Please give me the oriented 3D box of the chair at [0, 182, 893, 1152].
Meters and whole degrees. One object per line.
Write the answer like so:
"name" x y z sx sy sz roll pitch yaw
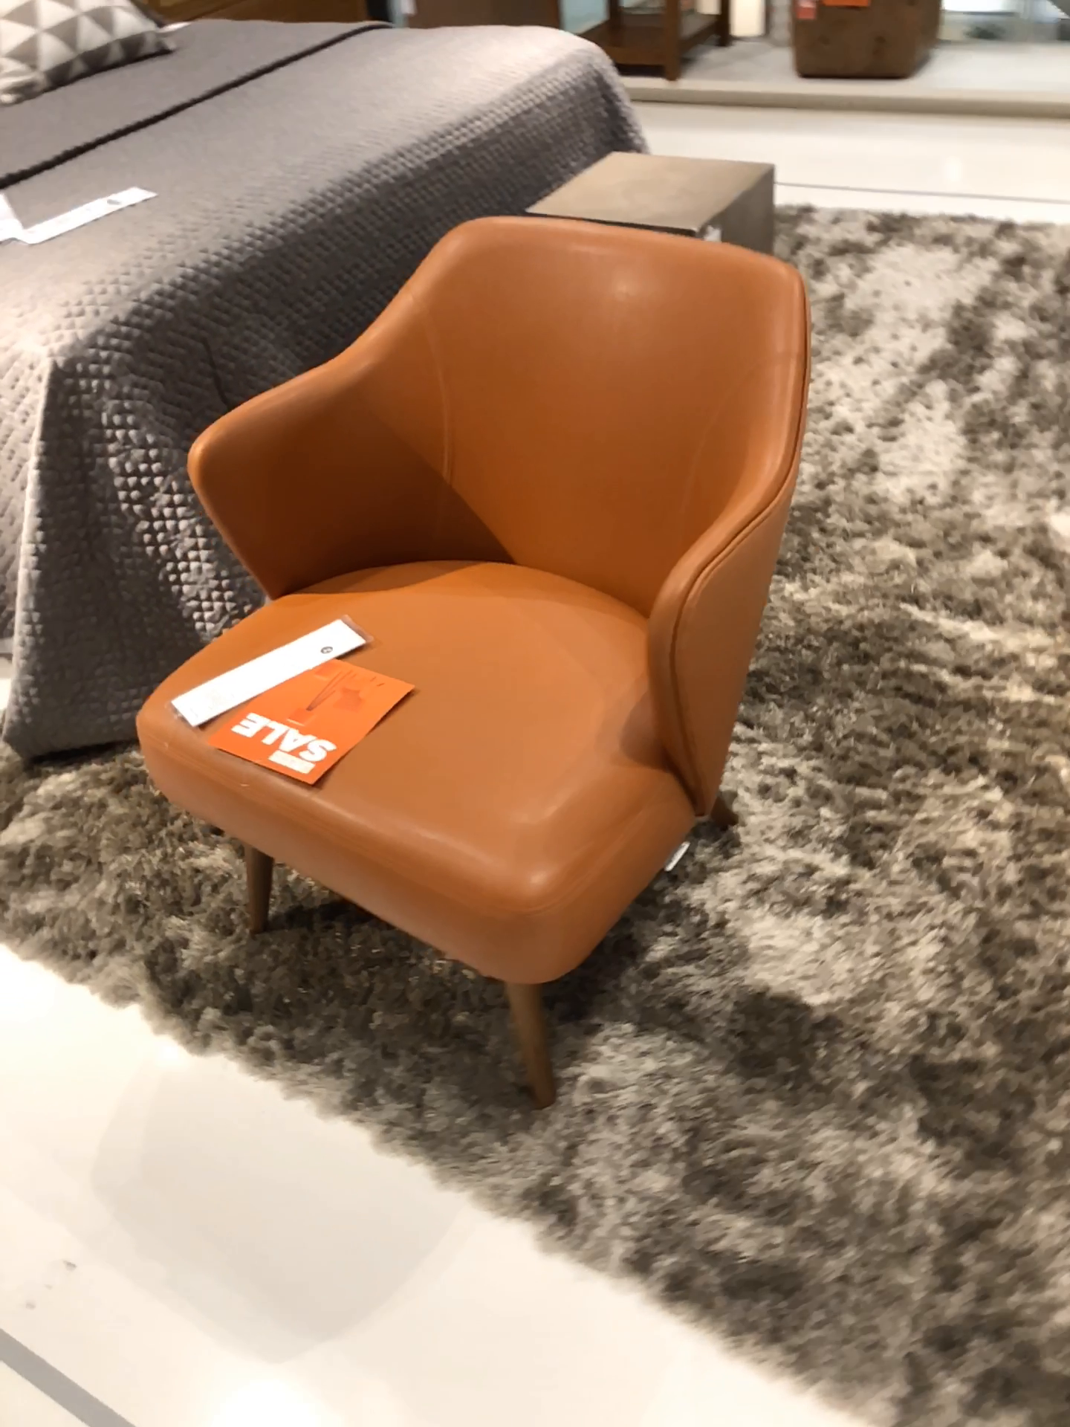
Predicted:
"chair" -0.047 -0.097 1.324 0.592 0.704 0.653 22 49 30
